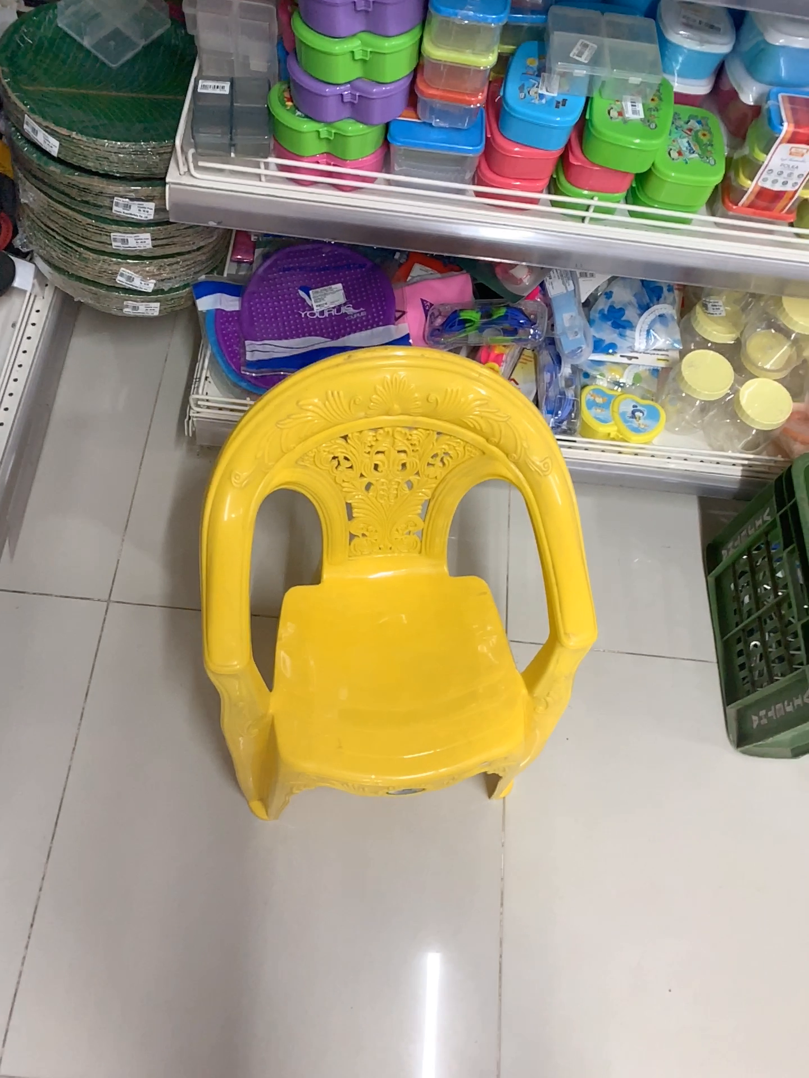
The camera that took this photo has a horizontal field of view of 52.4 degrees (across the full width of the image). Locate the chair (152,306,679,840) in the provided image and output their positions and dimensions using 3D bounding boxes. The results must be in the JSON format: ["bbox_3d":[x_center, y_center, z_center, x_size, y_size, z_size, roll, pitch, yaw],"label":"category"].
[{"bbox_3d":[-0.024,0.067,0.946,0.420,0.450,0.460,-3,66,-7],"label":"chair"}]
